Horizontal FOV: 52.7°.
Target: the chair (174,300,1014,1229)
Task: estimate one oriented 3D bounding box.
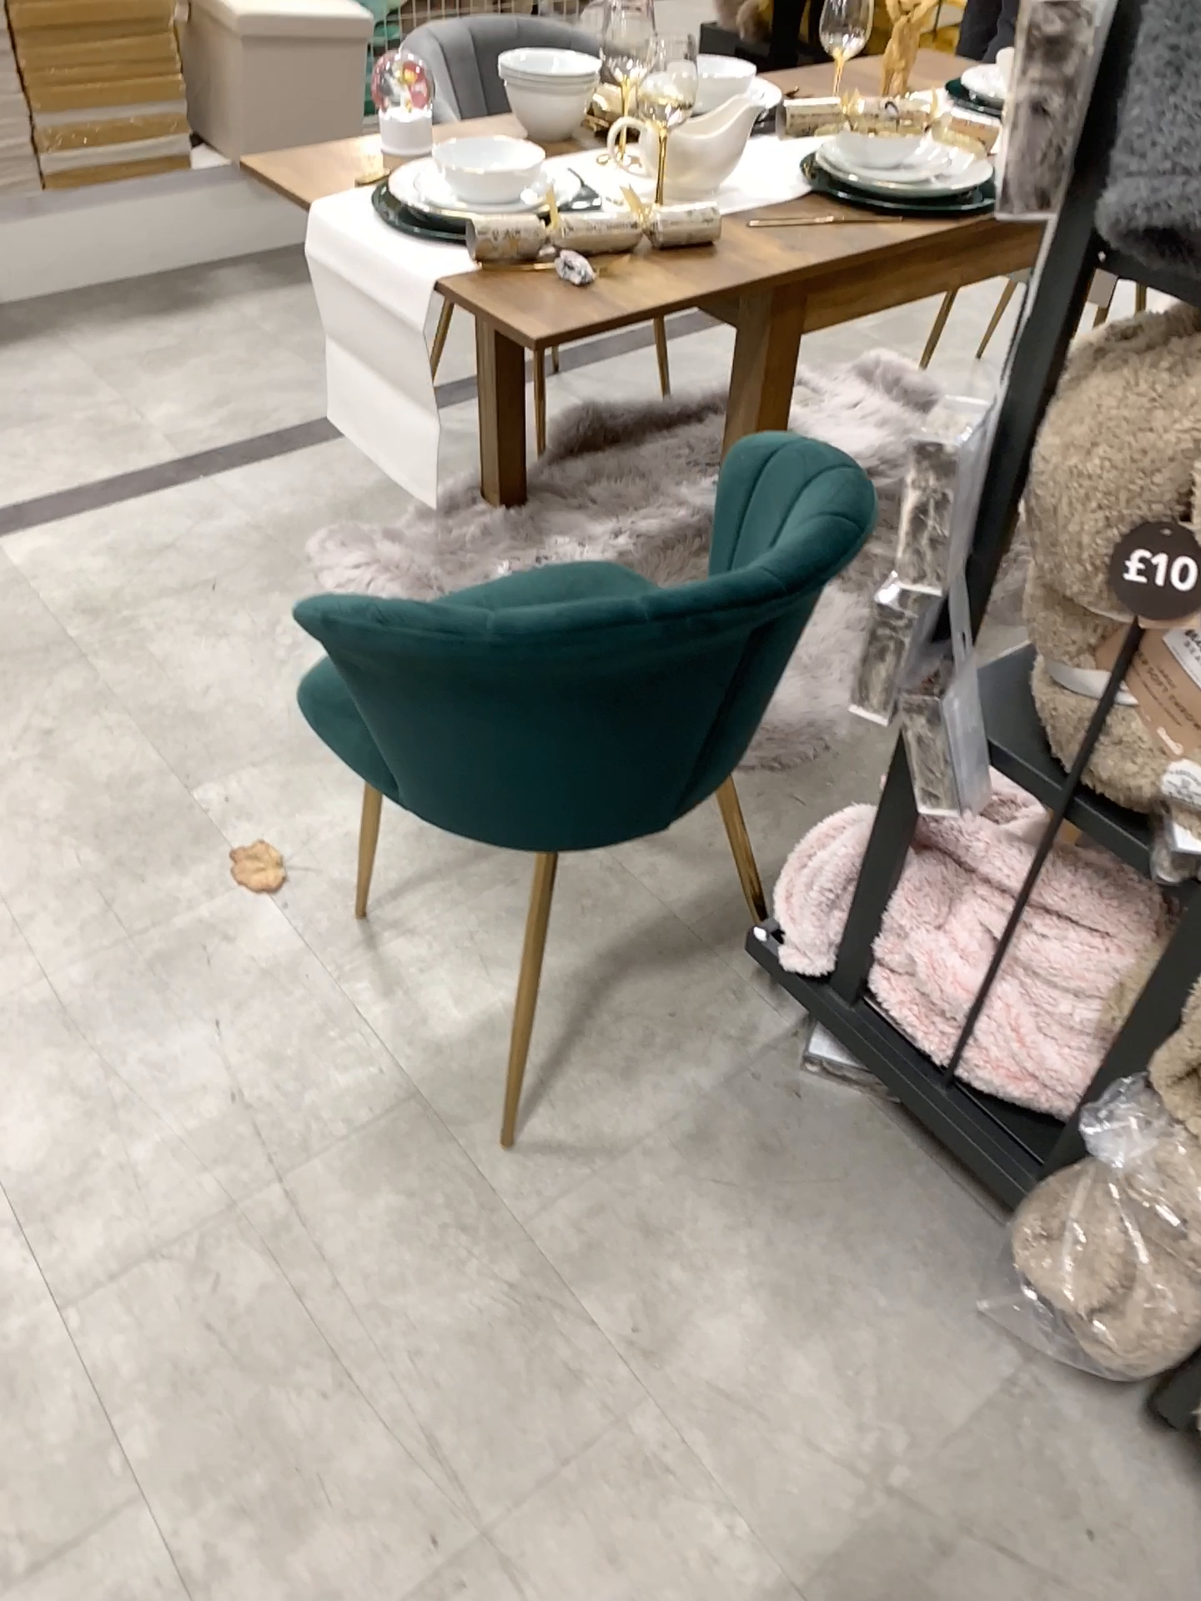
[{"bbox_3d":[-0.030,-0.063,1.358,0.549,0.692,0.573,-26,49,-27],"label":"chair"}]
